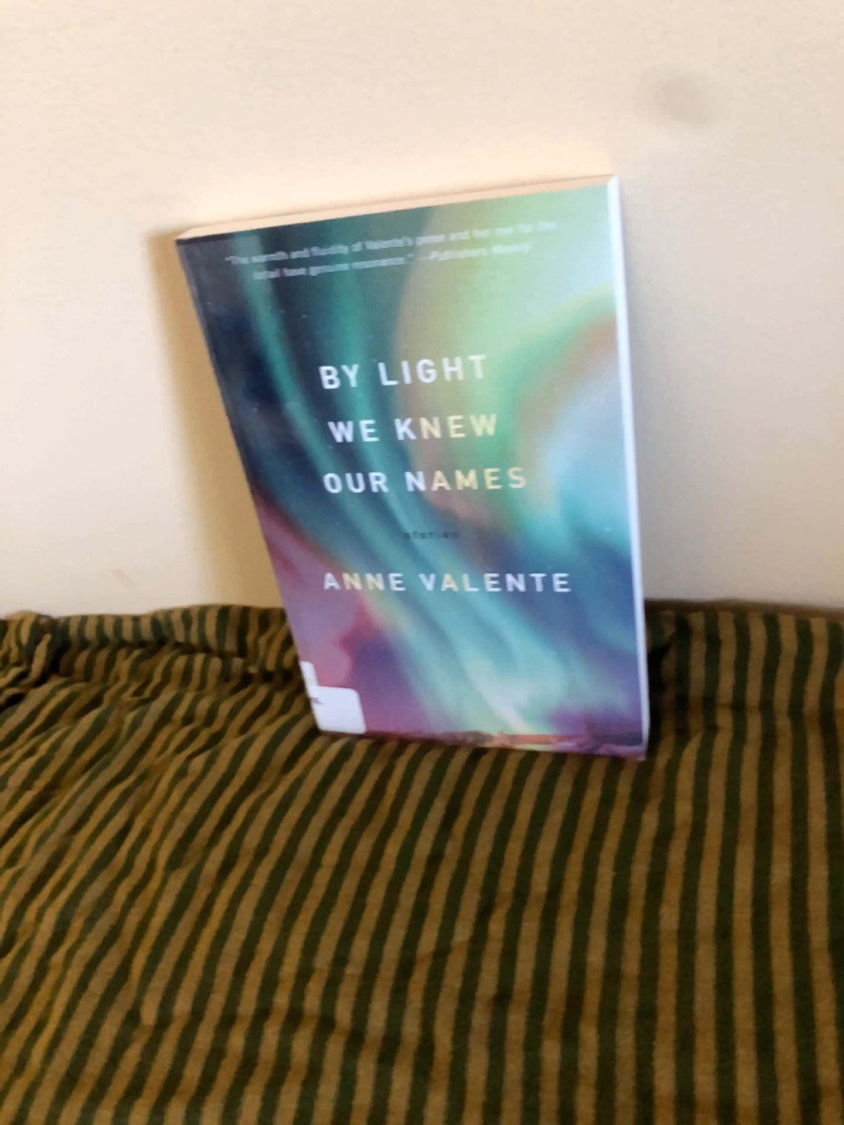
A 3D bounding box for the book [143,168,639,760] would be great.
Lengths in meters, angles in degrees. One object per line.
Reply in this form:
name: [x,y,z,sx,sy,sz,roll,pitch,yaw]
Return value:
book: [0.003,-0.016,0.341,0.142,0.223,0.020,-1,36,15]
